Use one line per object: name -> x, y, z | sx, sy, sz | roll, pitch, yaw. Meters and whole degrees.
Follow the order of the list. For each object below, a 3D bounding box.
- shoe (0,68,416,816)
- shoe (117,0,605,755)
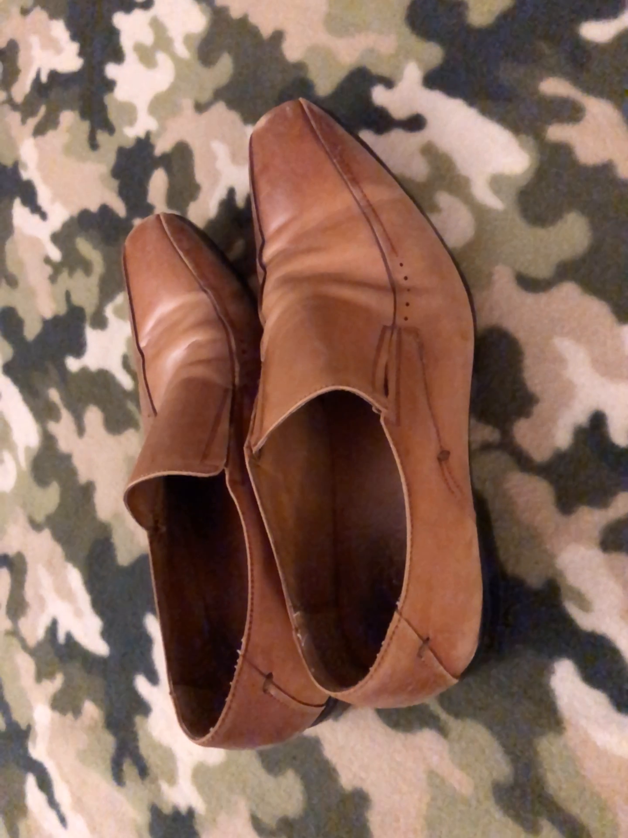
shoe -> -0.072, 0.004, 0.363 | 0.110, 0.119, 0.321 | -27, 69, 29
shoe -> 0.014, -0.040, 0.316 | 0.110, 0.119, 0.320 | -21, 72, 30
